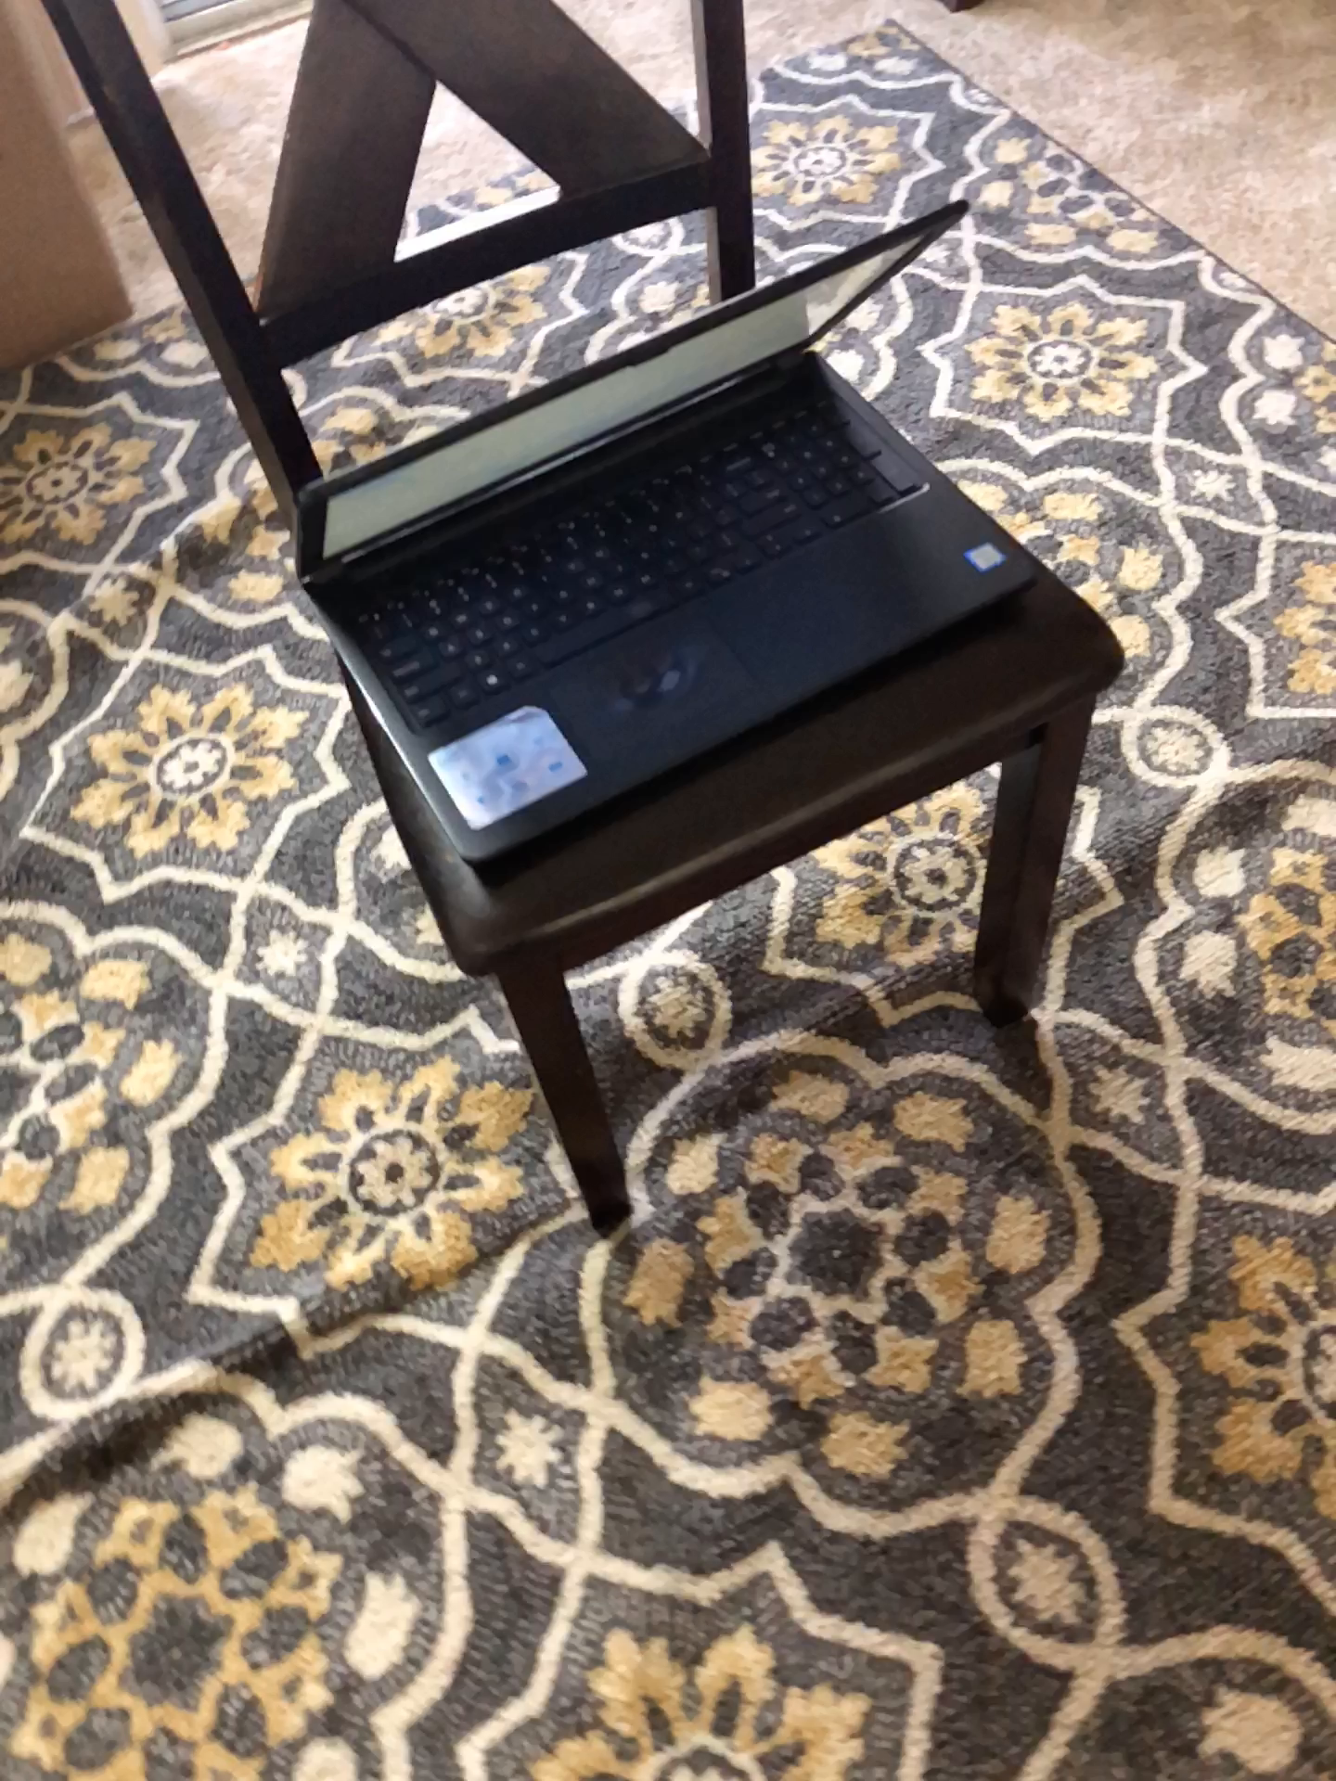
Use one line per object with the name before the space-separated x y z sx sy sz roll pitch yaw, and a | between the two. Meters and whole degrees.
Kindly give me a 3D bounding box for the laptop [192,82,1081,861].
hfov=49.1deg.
laptop | -0.015 -0.236 0.795 0.366 0.186 0.245 -28 58 -13
